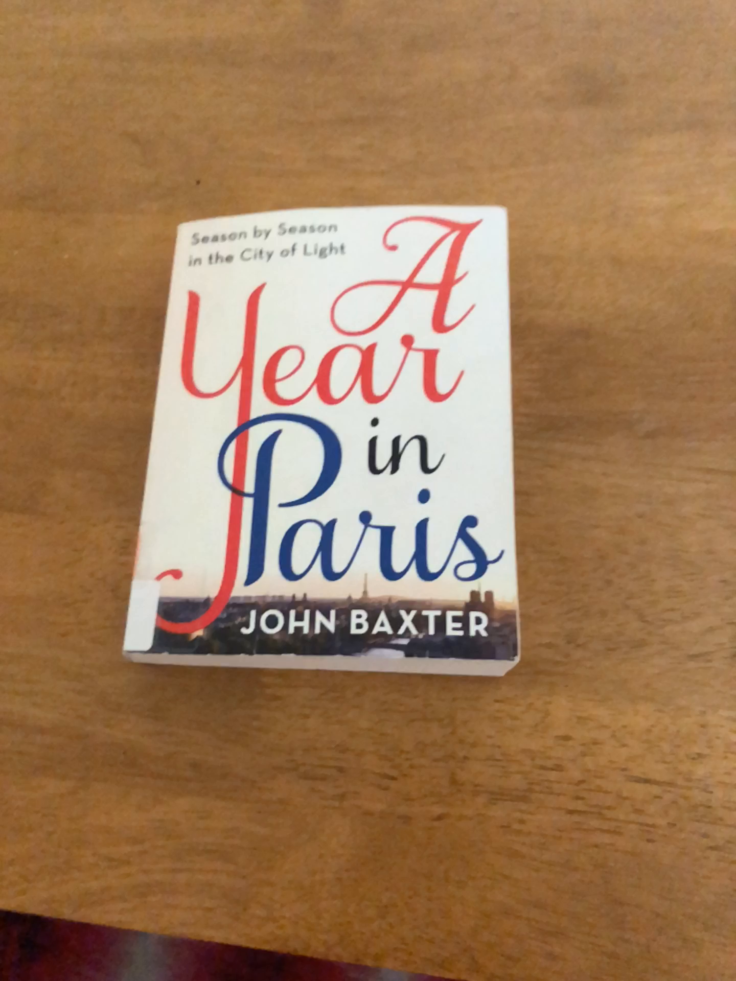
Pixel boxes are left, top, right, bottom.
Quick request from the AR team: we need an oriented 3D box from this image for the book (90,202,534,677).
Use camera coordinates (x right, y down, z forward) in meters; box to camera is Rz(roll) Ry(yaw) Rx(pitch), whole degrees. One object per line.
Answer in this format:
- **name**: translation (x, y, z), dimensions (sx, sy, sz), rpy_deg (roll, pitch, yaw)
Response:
- **book**: translation (-0.016, -0.023, 0.323), dimensions (0.150, 0.040, 0.181), rpy_deg (0, 70, 6)
